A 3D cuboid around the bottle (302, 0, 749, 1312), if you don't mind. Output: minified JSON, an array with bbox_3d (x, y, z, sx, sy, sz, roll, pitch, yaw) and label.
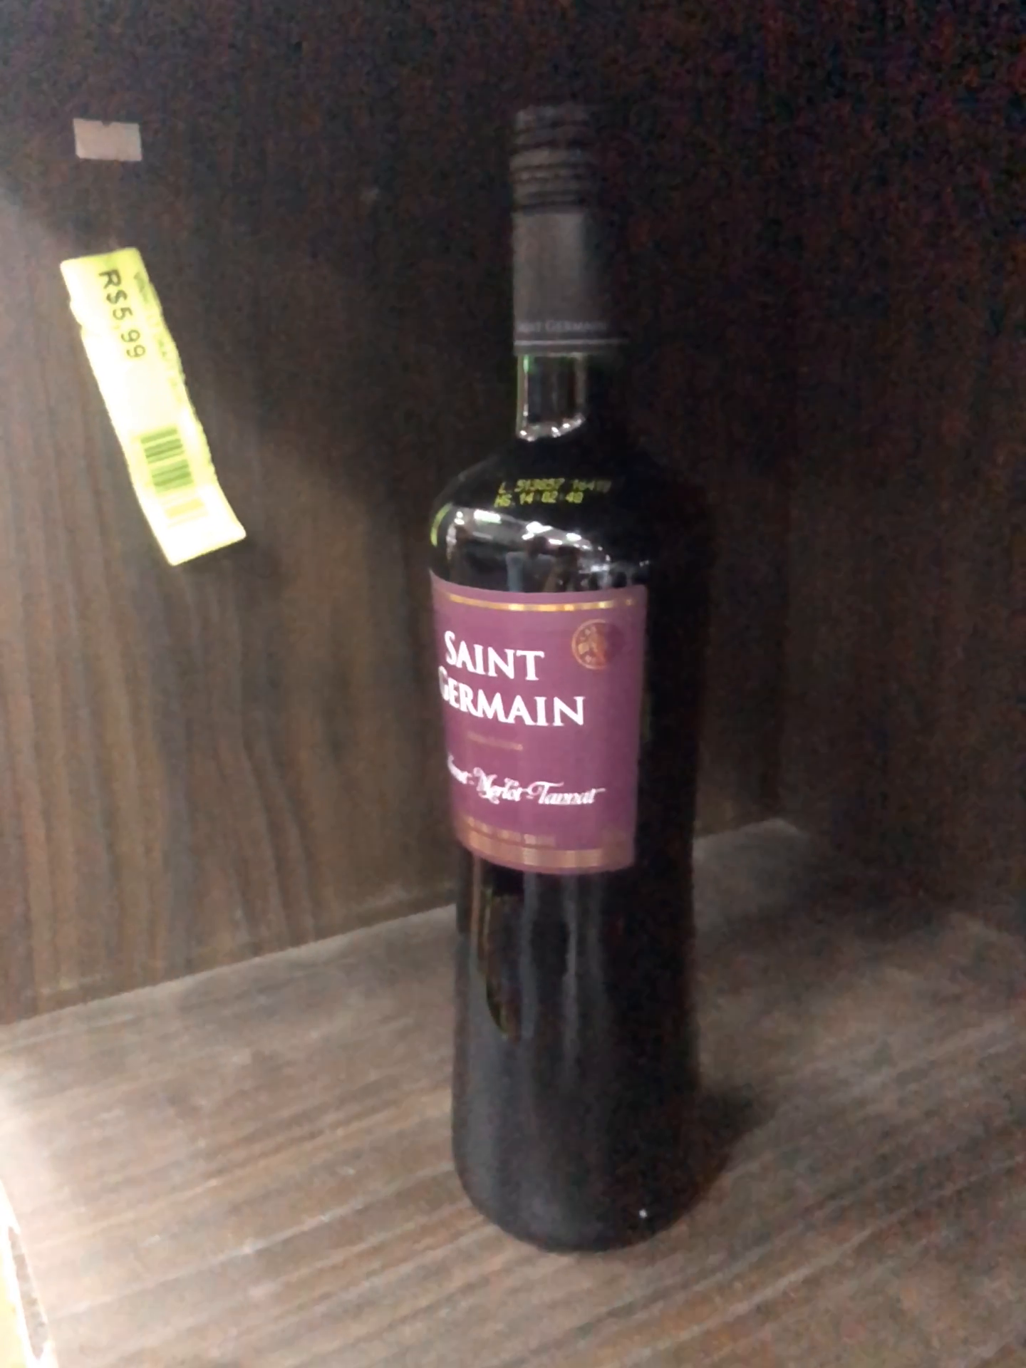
[{"bbox_3d":[0.010,0.003,0.310,0.080,0.308,0.070,8,18,30],"label":"bottle"}]
